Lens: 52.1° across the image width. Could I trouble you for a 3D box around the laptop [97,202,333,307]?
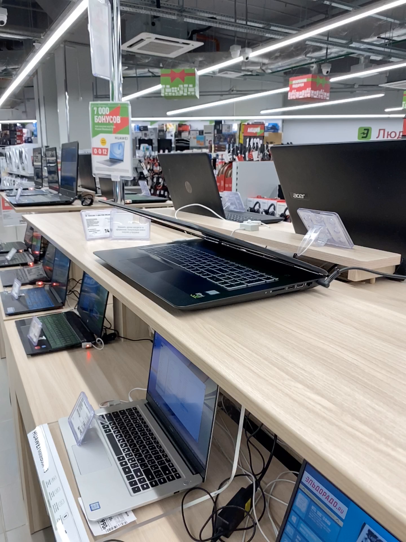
[{"bbox_3d":[-0.011,-0.061,0.784,0.268,0.095,0.415,-9,16,-28],"label":"laptop"}]
